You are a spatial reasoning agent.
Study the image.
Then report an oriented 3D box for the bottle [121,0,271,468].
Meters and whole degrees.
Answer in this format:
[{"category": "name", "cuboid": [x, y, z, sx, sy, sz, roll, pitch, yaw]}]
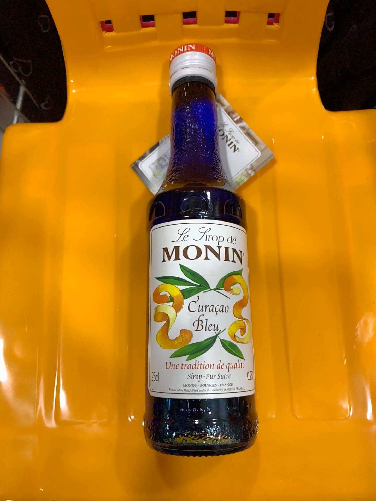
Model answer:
[{"category": "bottle", "cuboid": [0.001, -0.016, 0.205, 0.060, 0.050, 0.220, 1, 77, -5]}]
